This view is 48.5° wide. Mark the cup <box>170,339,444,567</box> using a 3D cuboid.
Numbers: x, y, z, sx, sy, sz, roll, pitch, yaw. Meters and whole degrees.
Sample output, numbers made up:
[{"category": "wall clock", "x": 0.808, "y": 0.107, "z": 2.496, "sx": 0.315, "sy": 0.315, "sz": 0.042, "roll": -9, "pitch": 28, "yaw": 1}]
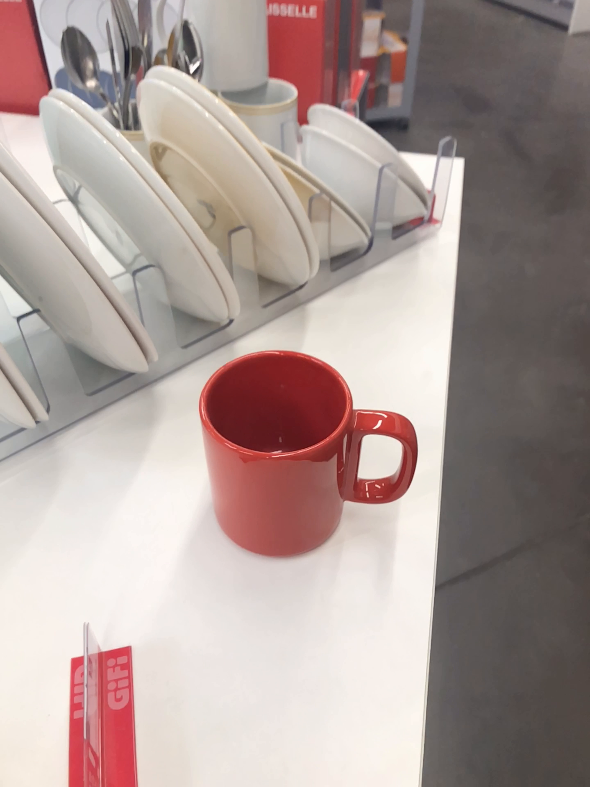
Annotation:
[{"category": "cup", "x": 0.008, "y": 0.032, "z": 0.369, "sx": 0.129, "sy": 0.082, "sz": 0.092, "roll": 2, "pitch": 43, "yaw": 2}]
